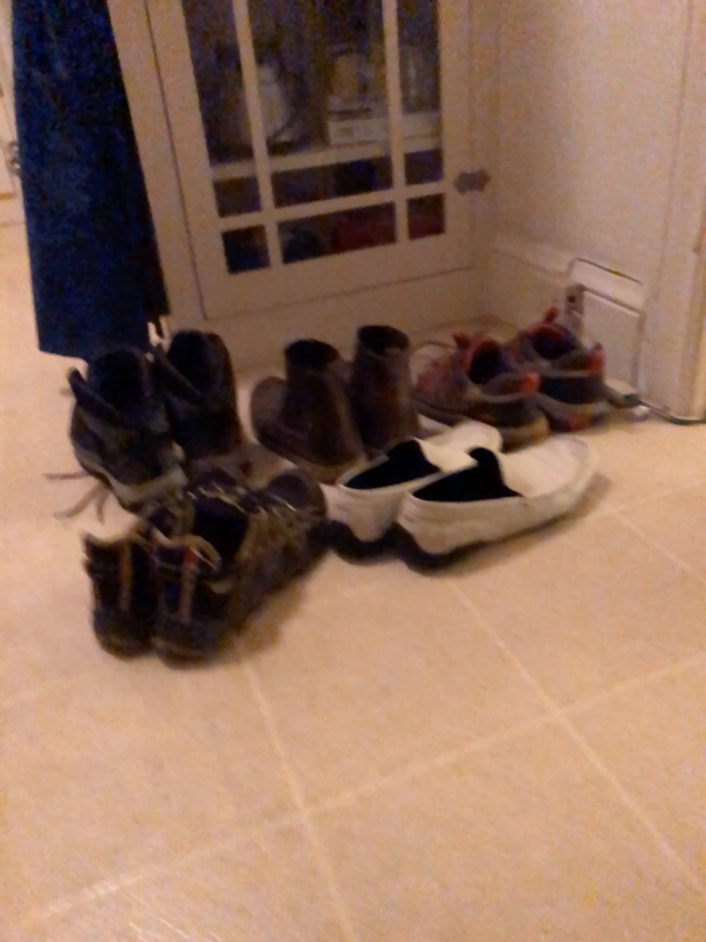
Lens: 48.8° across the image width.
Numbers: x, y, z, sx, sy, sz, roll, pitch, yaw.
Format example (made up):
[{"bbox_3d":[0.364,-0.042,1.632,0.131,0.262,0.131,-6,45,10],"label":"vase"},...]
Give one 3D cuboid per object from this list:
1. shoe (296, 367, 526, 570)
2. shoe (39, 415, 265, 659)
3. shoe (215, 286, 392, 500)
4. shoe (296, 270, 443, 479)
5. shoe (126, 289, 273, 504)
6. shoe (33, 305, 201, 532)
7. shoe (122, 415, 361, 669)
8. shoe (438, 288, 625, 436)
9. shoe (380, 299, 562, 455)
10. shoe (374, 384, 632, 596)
[{"bbox_3d":[0.084,-0.016,0.971,0.110,0.112,0.304,21,39,39],"label":"shoe"},{"bbox_3d":[-0.207,0.058,0.879,0.110,0.122,0.295,2,30,14],"label":"shoe"},{"bbox_3d":[-0.079,-0.127,1.126,0.110,0.192,0.325,-18,32,-22],"label":"shoe"},{"bbox_3d":[0.018,-0.157,1.160,0.110,0.192,0.325,-13,30,-13],"label":"shoe"},{"bbox_3d":[-0.231,-0.124,1.140,0.110,0.192,0.325,-16,31,-18],"label":"shoe"},{"bbox_3d":[-0.335,-0.088,1.082,0.110,0.192,0.325,-19,32,-23],"label":"shoe"},{"bbox_3d":[-0.105,0.061,0.863,0.110,0.122,0.295,9,32,23],"label":"shoe"},{"bbox_3d":[0.260,-0.179,1.196,0.110,0.112,0.315,-17,31,-19],"label":"shoe"},{"bbox_3d":[0.163,-0.152,1.153,0.110,0.112,0.315,-17,31,-19],"label":"shoe"},{"bbox_3d":[0.181,0.010,0.912,0.304,0.112,0.111,-24,34,-29],"label":"shoe"}]
